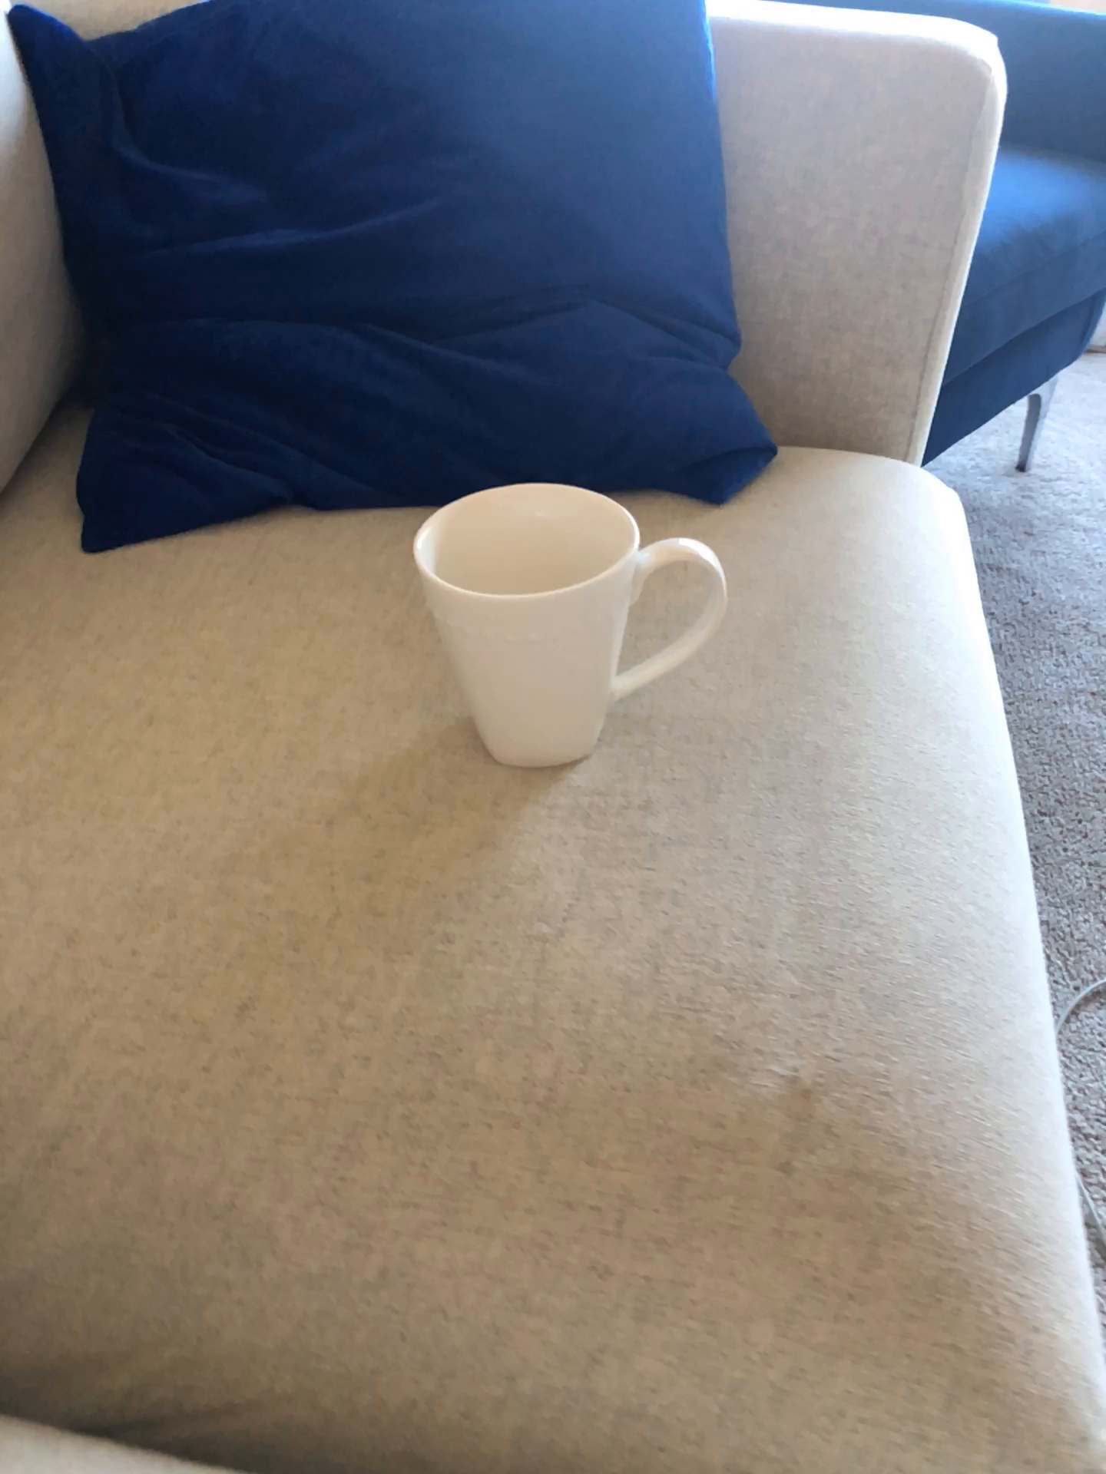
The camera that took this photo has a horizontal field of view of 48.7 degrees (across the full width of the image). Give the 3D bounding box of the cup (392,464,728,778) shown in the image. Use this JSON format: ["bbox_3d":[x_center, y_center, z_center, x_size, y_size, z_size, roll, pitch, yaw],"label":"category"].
[{"bbox_3d":[0.005,-0.053,0.538,0.130,0.090,0.101,4,37,2],"label":"cup"}]
